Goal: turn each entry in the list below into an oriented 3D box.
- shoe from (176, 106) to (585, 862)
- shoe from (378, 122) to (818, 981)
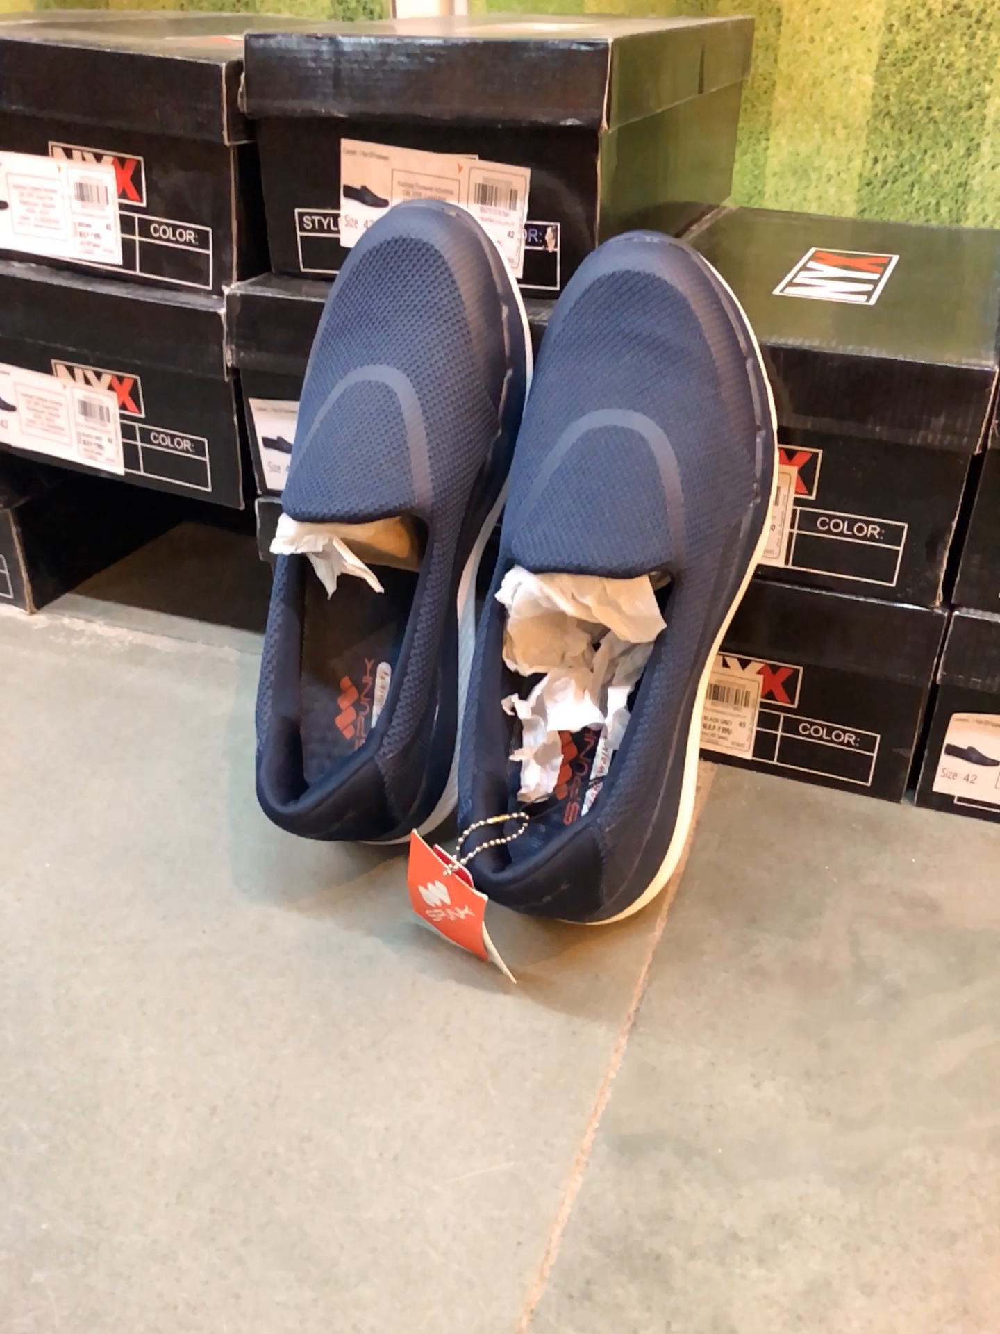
[{"bbox_3d":[-0.048,-0.074,0.471,0.109,0.273,0.110,9,7,19],"label":"shoe"},{"bbox_3d":[0.040,-0.043,0.414,0.107,0.273,0.099,9,6,19],"label":"shoe"}]
